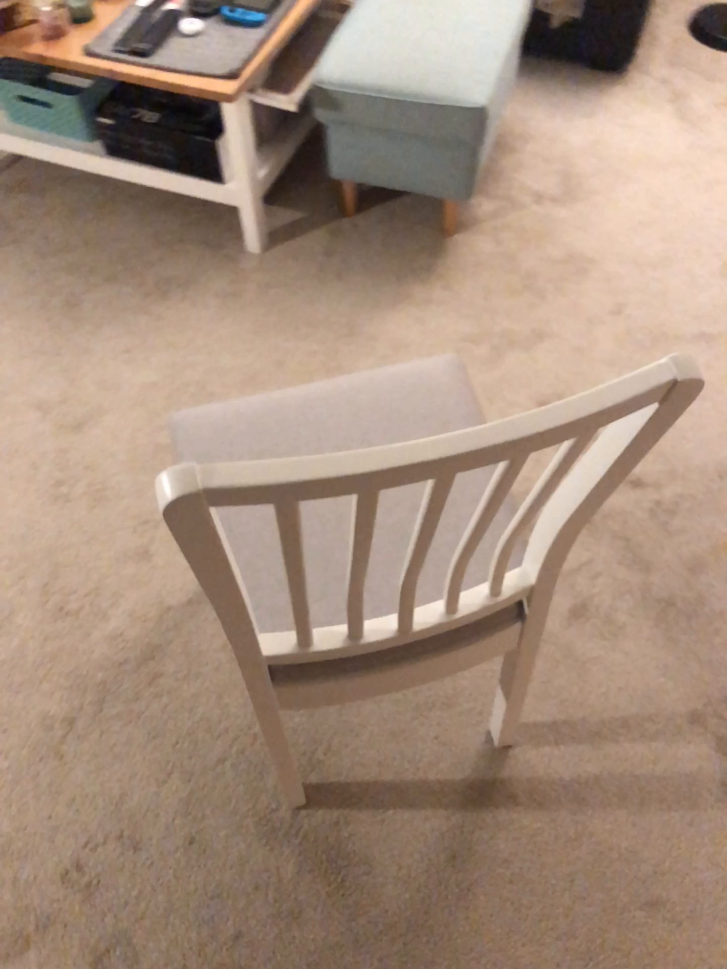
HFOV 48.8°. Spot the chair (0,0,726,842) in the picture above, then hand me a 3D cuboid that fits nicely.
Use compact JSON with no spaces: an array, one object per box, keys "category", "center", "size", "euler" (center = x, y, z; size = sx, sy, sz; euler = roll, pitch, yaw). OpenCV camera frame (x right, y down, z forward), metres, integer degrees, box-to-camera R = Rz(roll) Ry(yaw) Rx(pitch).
[{"category":"chair","center":[-0.030,0.015,1.024],"size":[0.500,0.906,0.552],"euler":[-12,56,-6]}]
